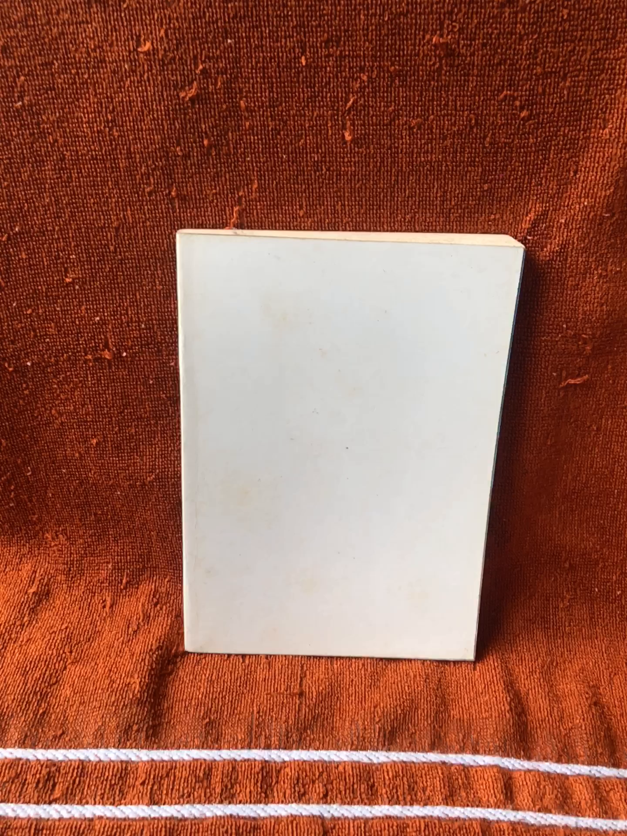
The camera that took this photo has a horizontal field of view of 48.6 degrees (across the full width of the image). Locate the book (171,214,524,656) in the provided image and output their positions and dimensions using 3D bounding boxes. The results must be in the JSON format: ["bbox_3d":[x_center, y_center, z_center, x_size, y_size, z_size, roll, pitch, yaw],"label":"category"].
[{"bbox_3d":[0.012,0.011,0.334,0.150,0.200,0.030,3,10,-1],"label":"book"}]
